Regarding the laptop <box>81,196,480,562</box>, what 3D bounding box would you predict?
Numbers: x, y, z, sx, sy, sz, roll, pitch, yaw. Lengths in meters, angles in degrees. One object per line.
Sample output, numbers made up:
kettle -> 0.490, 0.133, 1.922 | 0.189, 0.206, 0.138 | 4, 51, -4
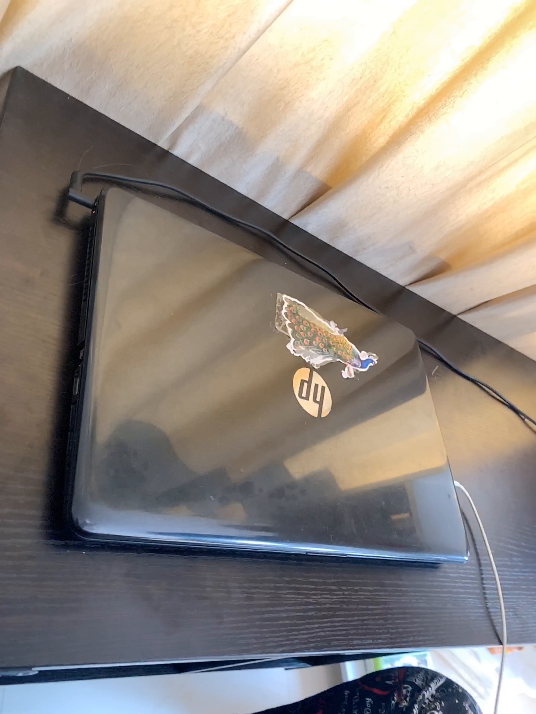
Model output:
laptop -> 0.037, 0.036, 0.453 | 0.375, 0.006, 0.237 | 18, 53, -36
